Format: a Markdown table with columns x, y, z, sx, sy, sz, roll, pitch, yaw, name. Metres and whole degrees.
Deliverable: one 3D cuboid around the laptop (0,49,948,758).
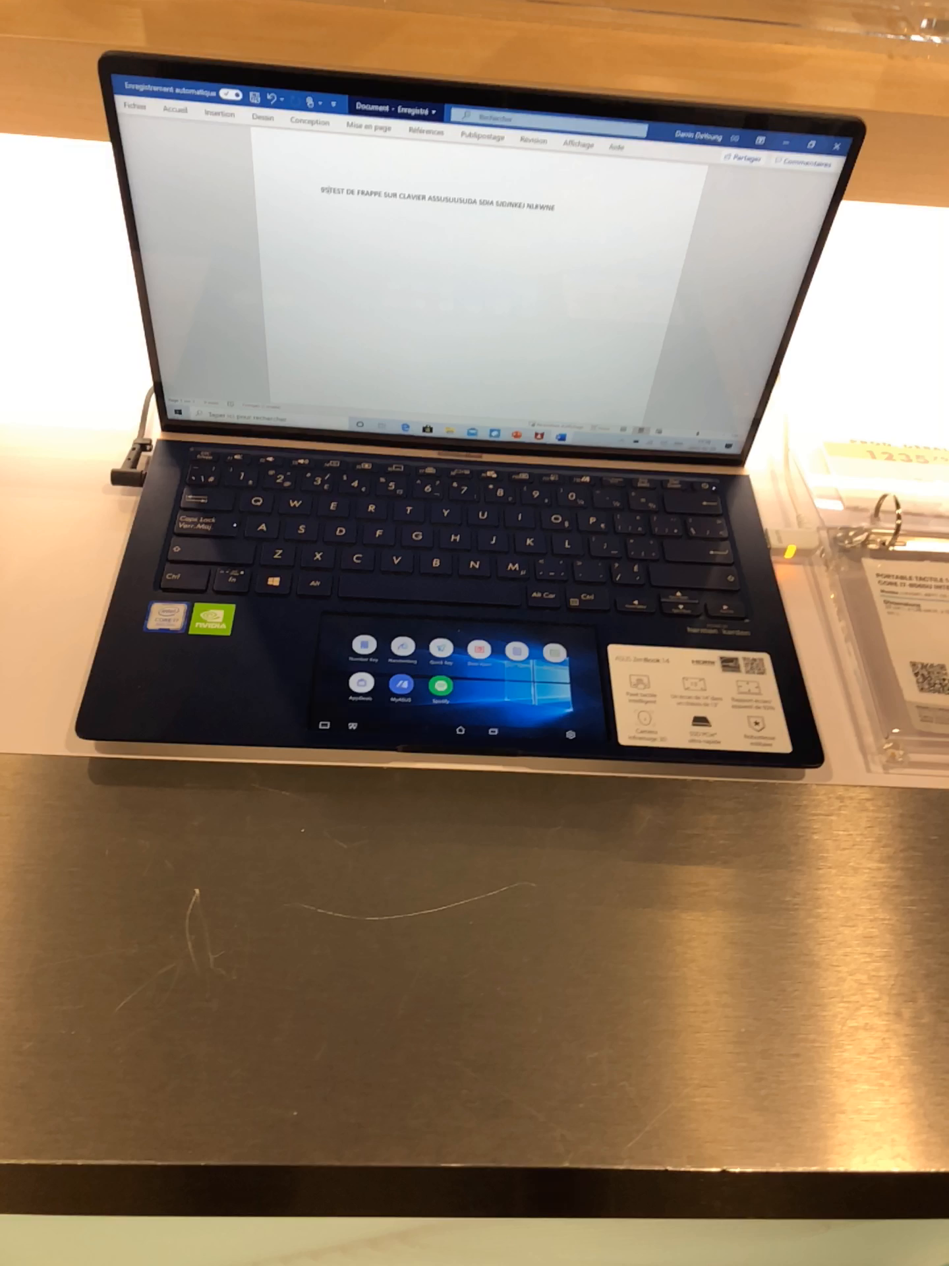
| x | y | z | sx | sy | sz | roll | pitch | yaw | name |
| --- | --- | --- | --- | --- | --- | --- | --- | --- | --- |
| 0.001 | -0.088 | 0.433 | 0.317 | 0.193 | 0.200 | 2 | 49 | -4 | laptop |
